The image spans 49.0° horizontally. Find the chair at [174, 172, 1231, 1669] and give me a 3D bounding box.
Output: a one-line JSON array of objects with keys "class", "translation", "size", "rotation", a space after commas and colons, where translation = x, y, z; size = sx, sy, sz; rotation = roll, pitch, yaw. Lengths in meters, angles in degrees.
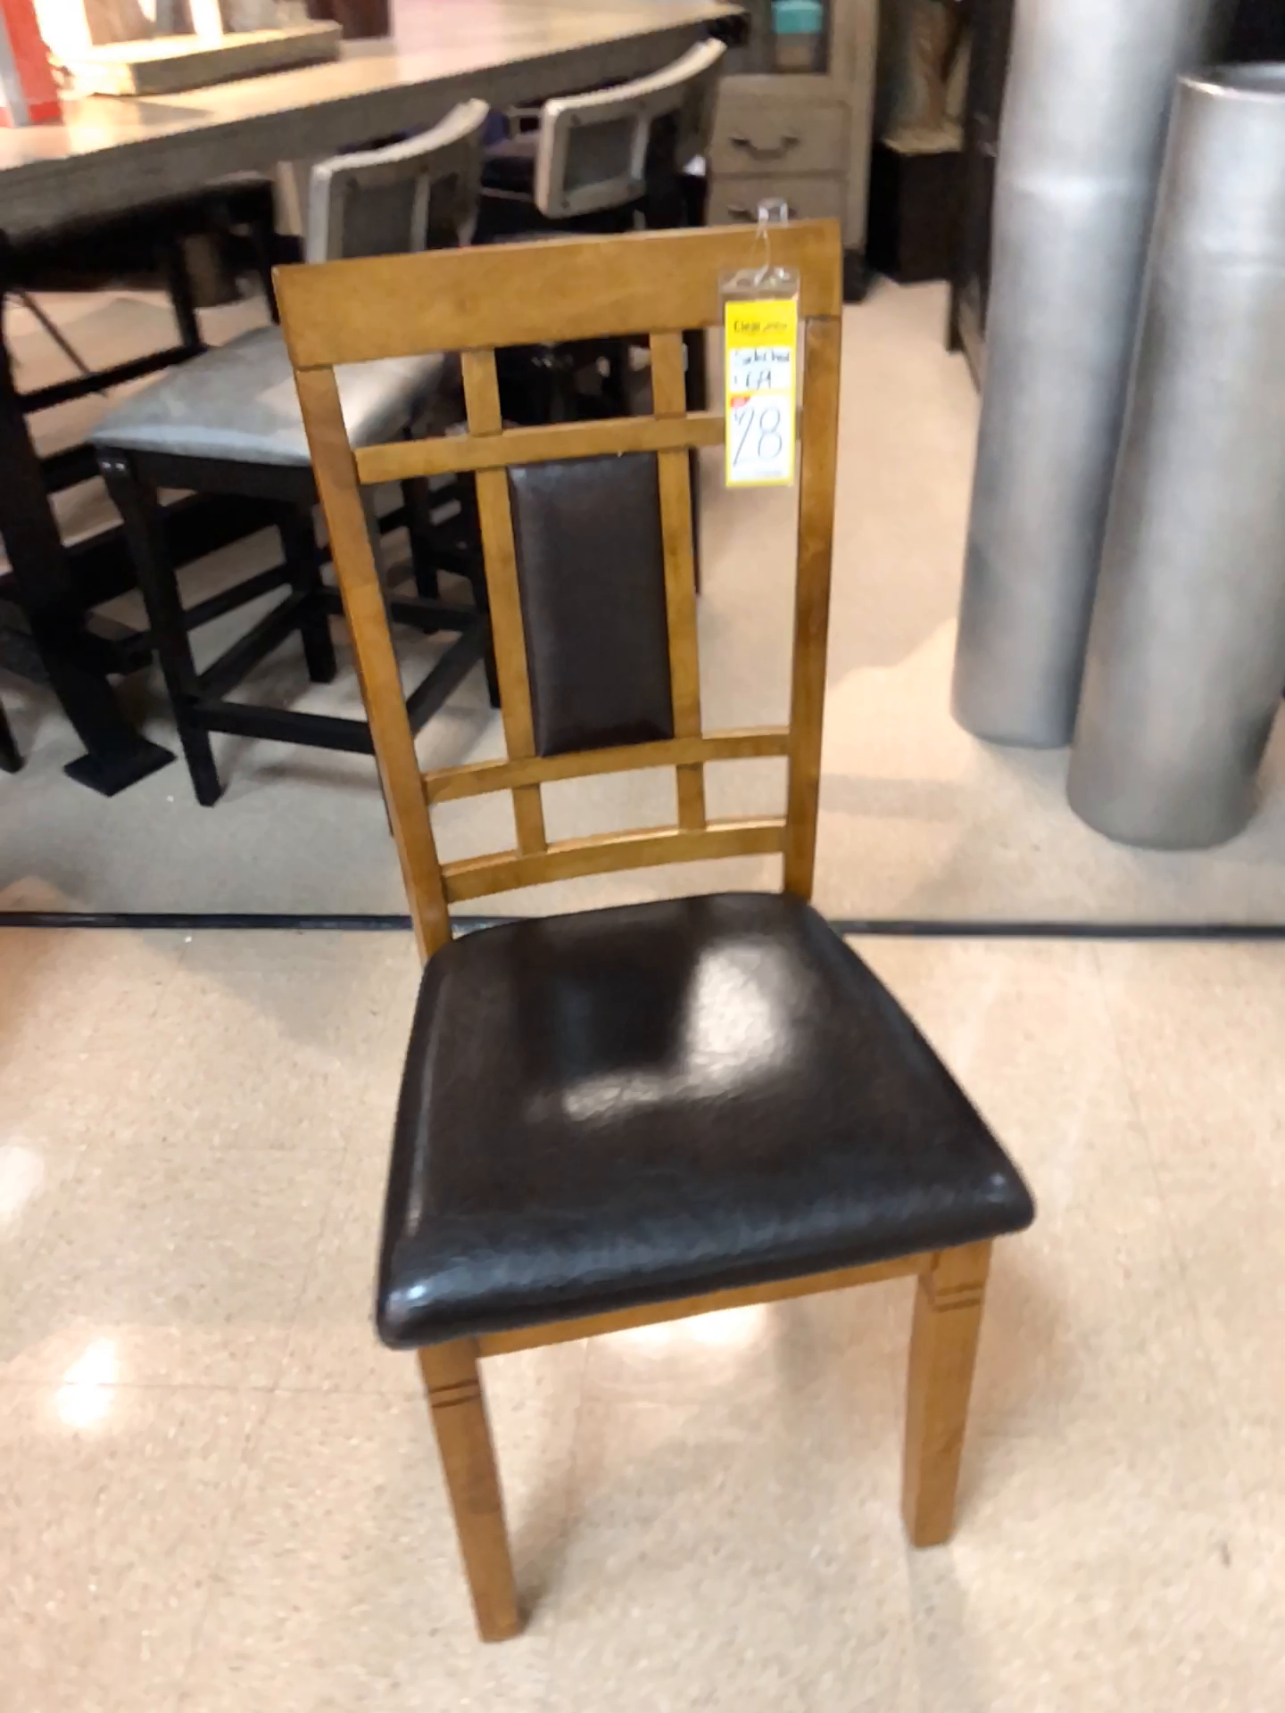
[{"class": "chair", "translation": [0.006, 0.086, 1.081], "size": [0.450, 0.993, 0.503], "rotation": [-8, 37, -7]}]
